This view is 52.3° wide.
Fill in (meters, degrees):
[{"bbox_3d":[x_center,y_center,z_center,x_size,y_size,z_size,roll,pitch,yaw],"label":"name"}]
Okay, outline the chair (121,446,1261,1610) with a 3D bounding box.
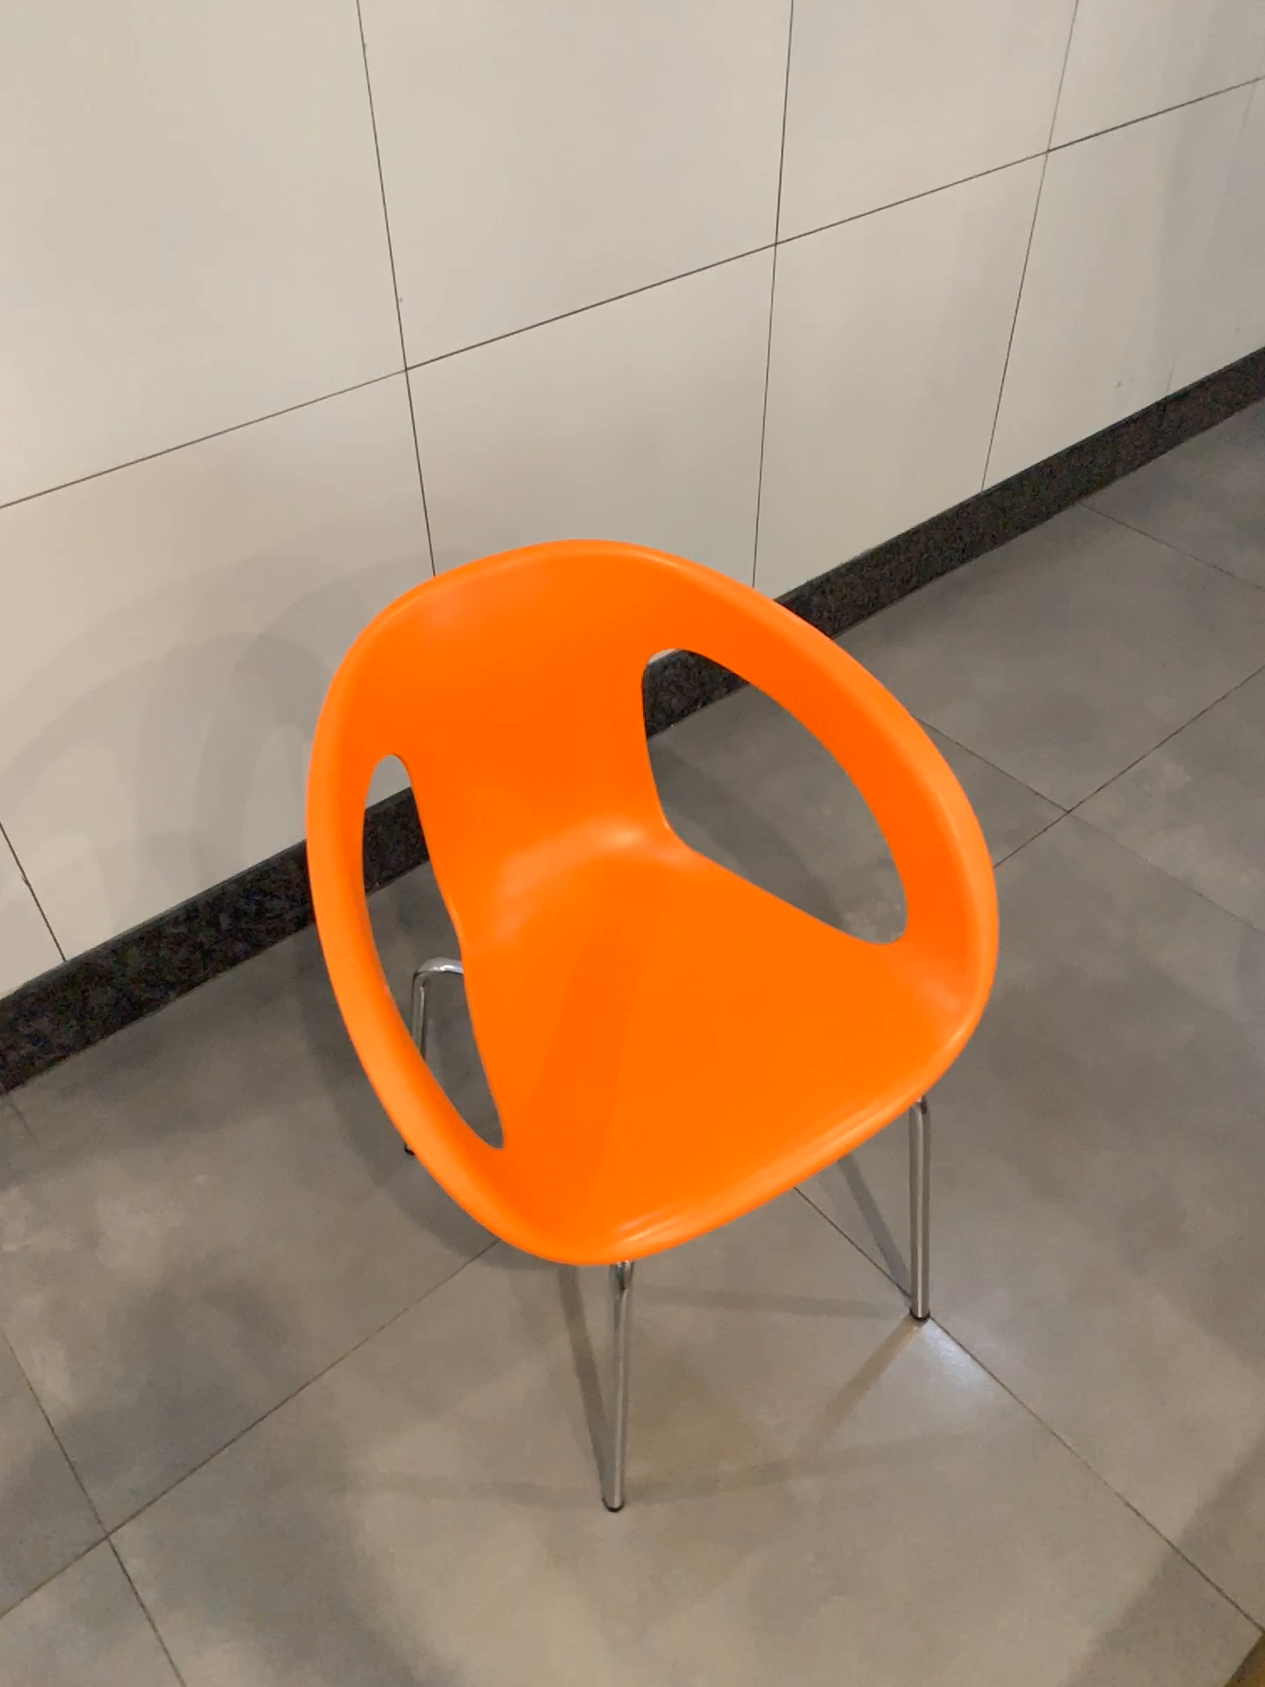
[{"bbox_3d":[0.012,0.133,1.246,0.661,0.664,0.644,-22,48,-22],"label":"chair"}]
